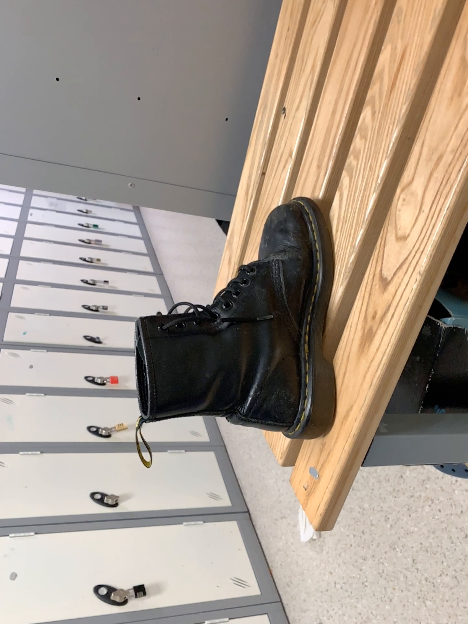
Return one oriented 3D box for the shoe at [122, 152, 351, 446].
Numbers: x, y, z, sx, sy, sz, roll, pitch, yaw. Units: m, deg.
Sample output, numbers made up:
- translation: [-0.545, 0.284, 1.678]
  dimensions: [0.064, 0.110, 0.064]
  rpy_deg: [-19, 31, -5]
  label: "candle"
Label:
- translation: [0.002, -0.002, 0.499]
  dimensions: [0.107, 0.199, 0.261]
  rpy_deg: [155, 118, -66]
  label: "shoe"
